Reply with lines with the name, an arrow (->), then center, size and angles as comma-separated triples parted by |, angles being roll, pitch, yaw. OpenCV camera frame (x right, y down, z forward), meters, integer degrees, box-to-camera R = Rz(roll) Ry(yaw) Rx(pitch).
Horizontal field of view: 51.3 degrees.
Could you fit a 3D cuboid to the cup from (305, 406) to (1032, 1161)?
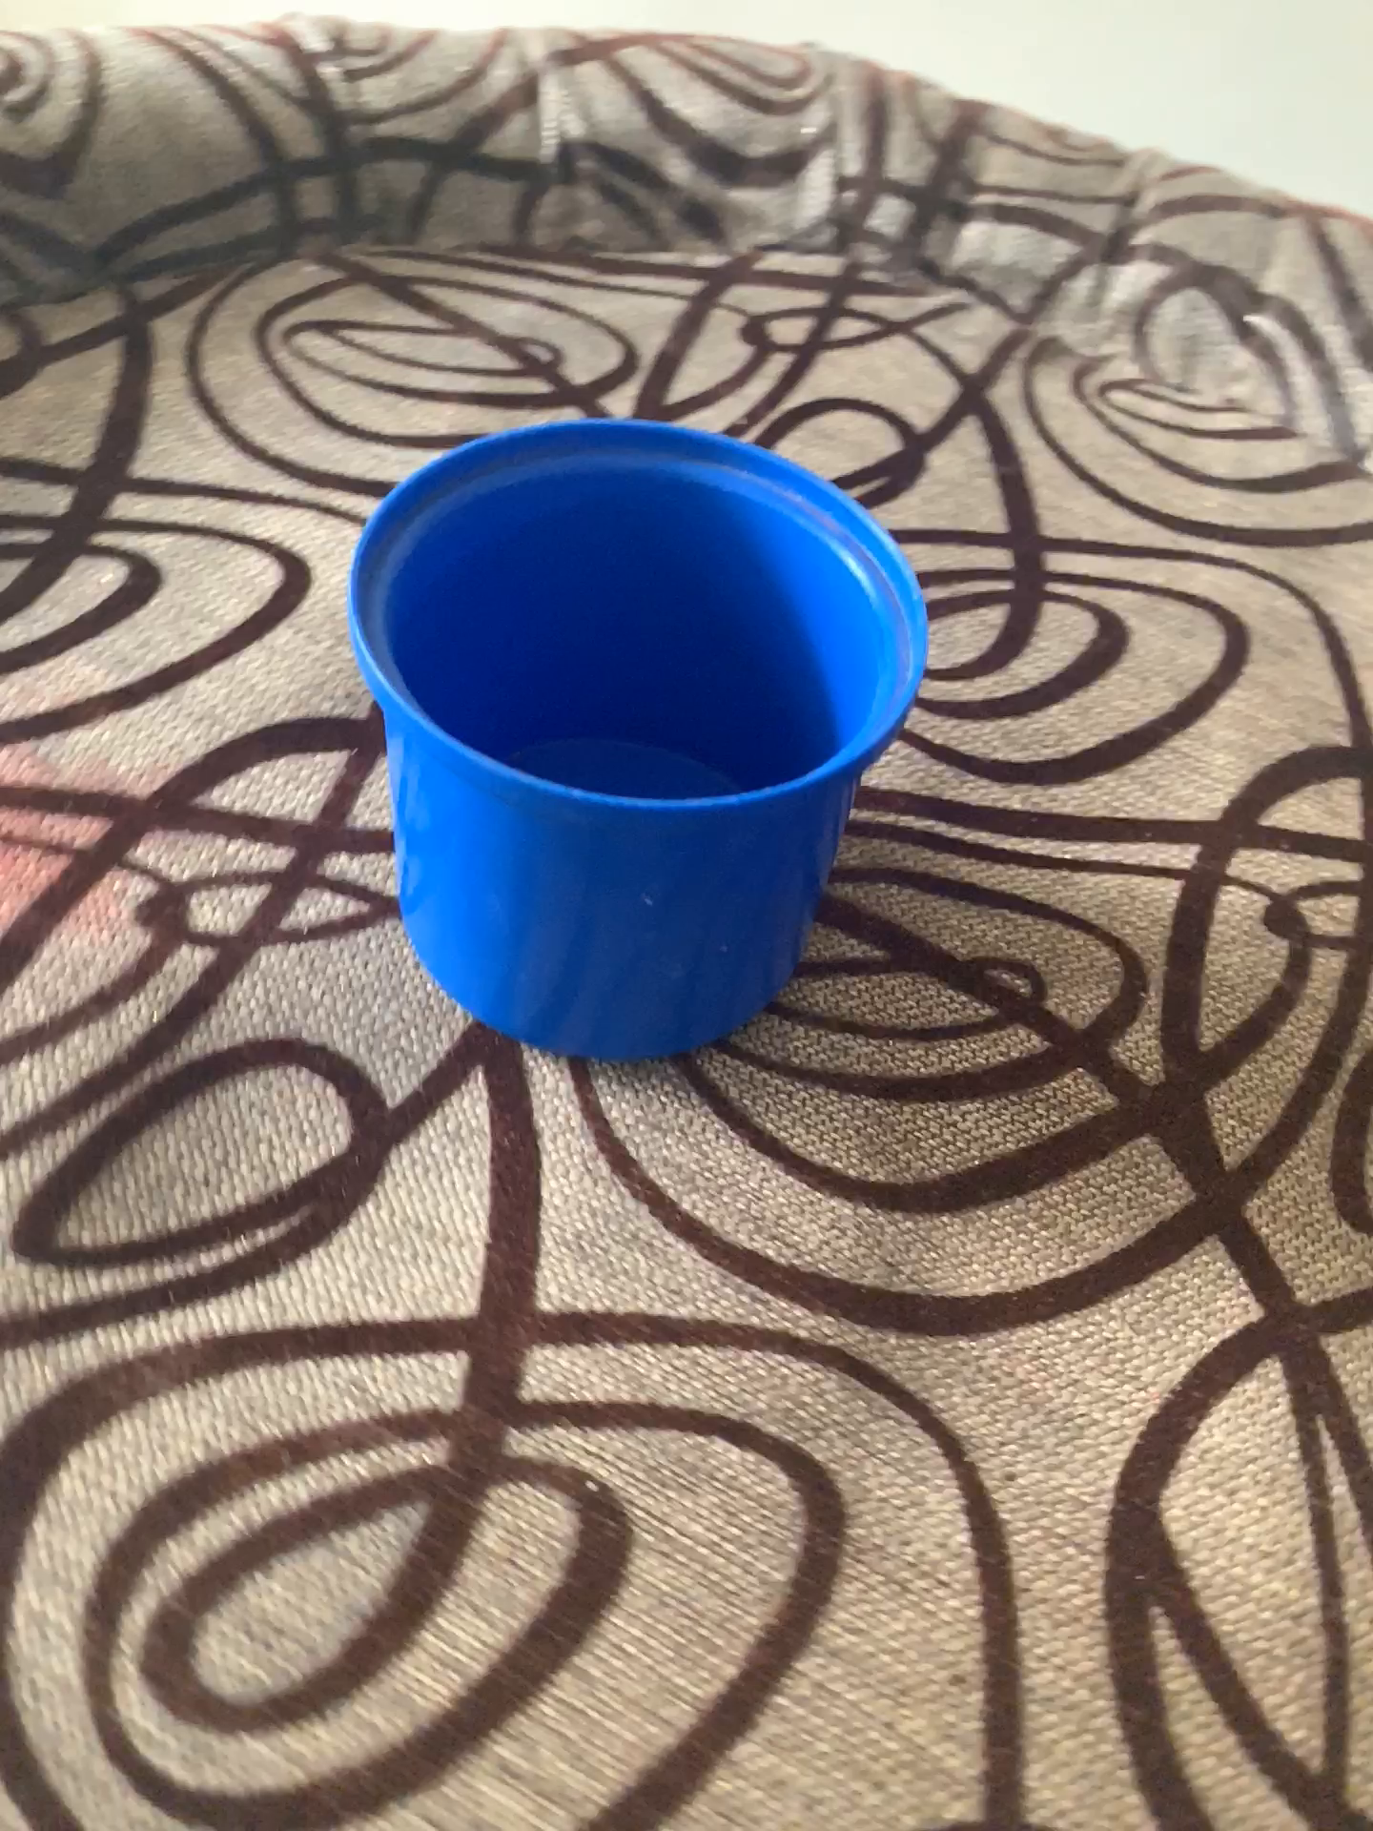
cup -> -0.011, -0.021, 0.212 | 0.080, 0.069, 0.081 | 5, 52, -6
